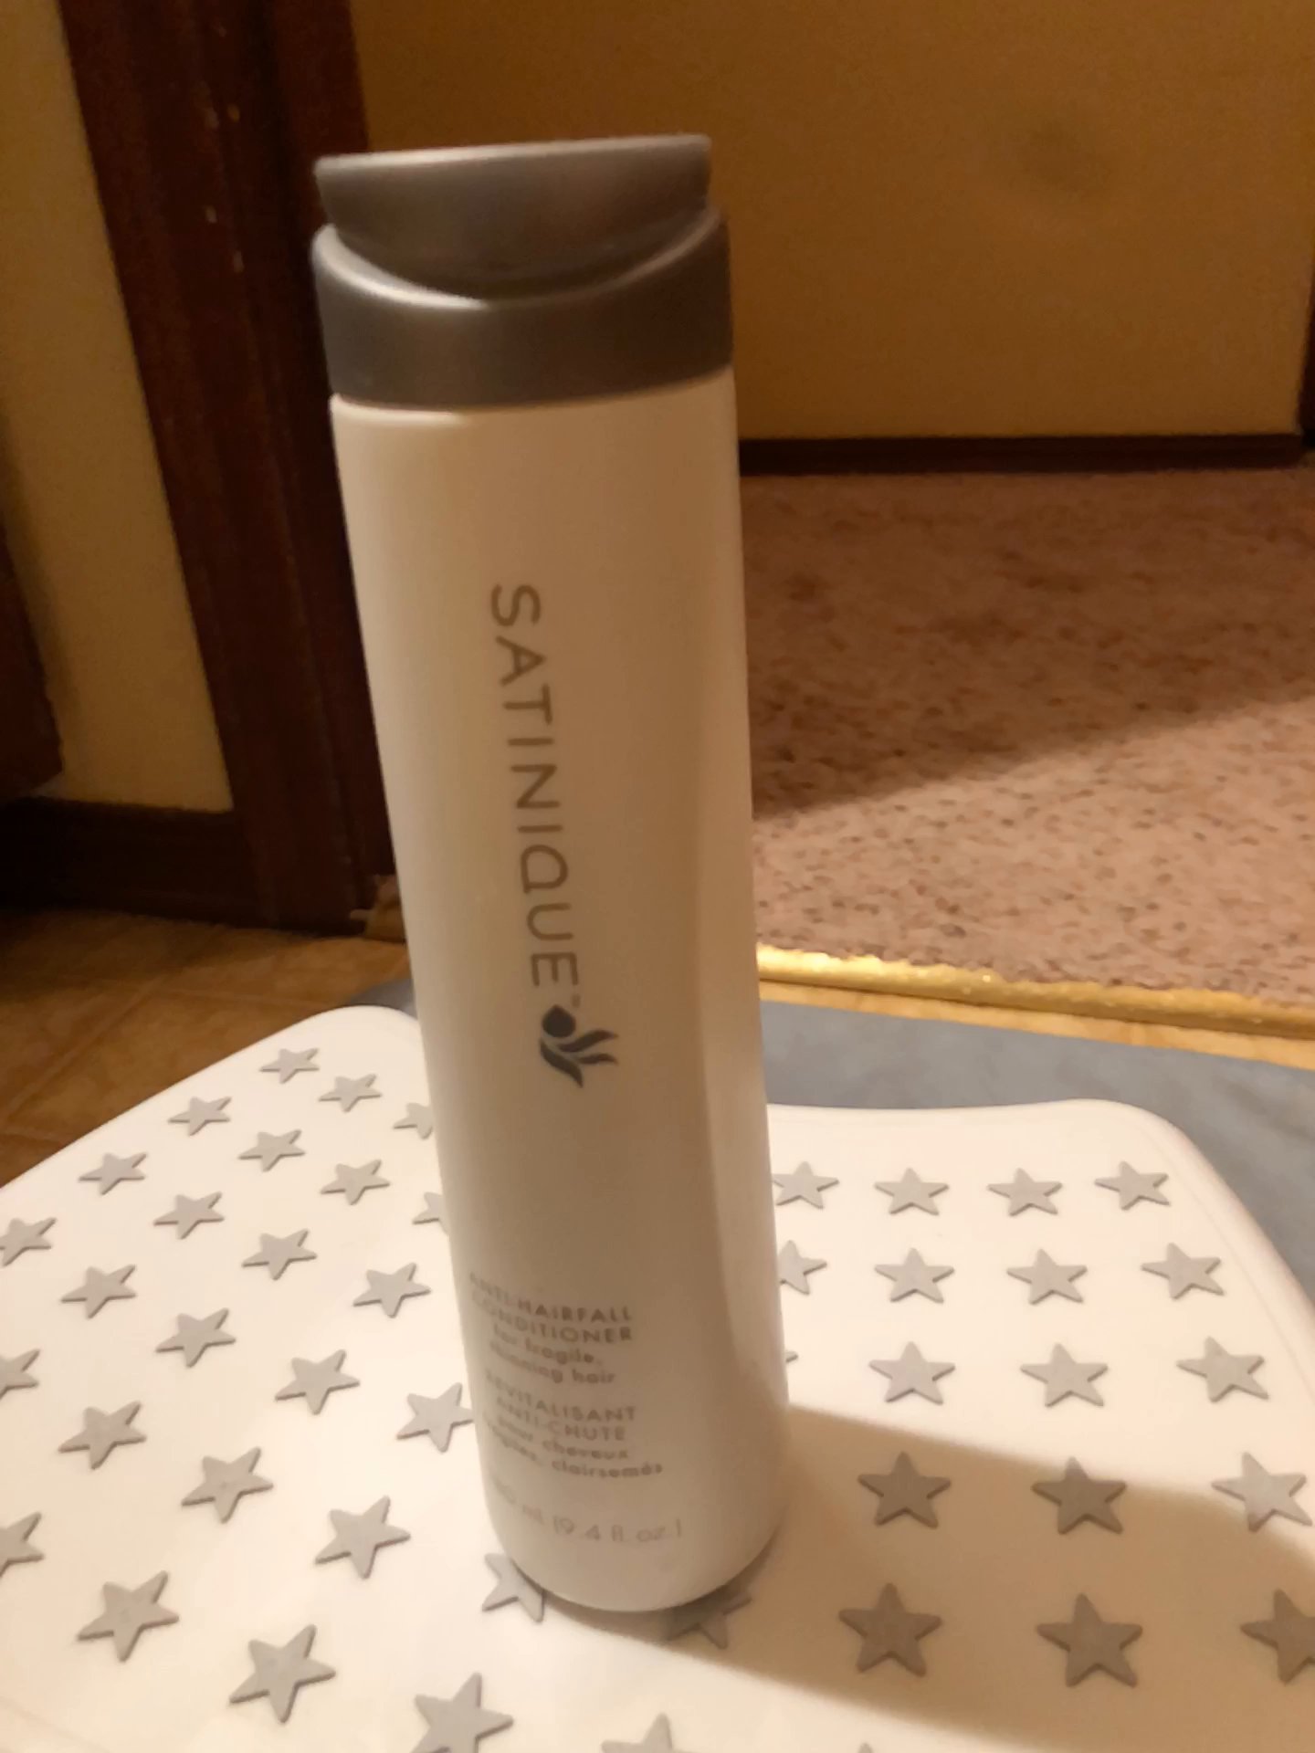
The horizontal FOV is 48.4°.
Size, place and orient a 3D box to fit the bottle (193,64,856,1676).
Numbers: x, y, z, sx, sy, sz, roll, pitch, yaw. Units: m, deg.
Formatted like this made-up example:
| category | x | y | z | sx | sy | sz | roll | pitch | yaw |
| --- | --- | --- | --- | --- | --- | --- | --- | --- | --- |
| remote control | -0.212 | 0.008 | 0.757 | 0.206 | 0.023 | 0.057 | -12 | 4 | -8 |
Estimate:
| category | x | y | z | sx | sy | sz | roll | pitch | yaw |
| --- | --- | --- | --- | --- | --- | --- | --- | --- | --- |
| bottle | -0.006 | 0.010 | 0.202 | 0.050 | 0.209 | 0.050 | -4 | 25 | 2 |
